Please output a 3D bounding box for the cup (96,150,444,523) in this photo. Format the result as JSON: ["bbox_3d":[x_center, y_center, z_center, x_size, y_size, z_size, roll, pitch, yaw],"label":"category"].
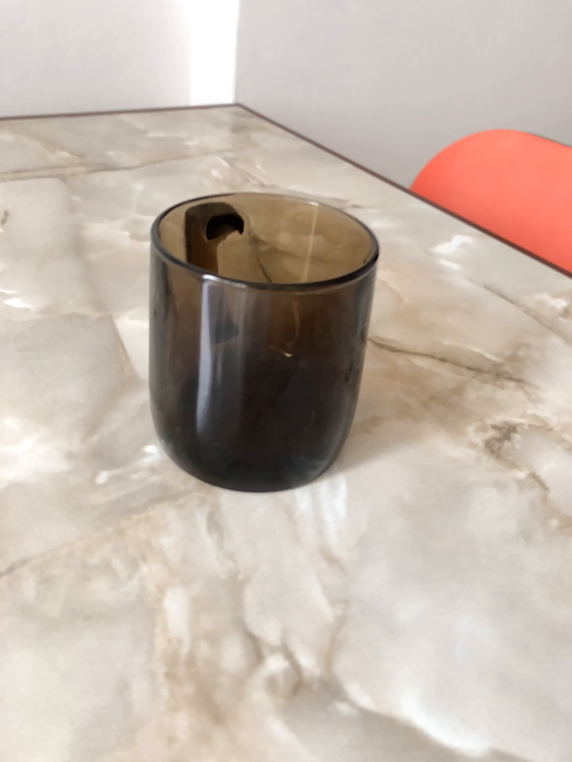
[{"bbox_3d":[-0.018,-0.028,0.258,0.091,0.090,0.123,-9,39,-21],"label":"cup"}]
